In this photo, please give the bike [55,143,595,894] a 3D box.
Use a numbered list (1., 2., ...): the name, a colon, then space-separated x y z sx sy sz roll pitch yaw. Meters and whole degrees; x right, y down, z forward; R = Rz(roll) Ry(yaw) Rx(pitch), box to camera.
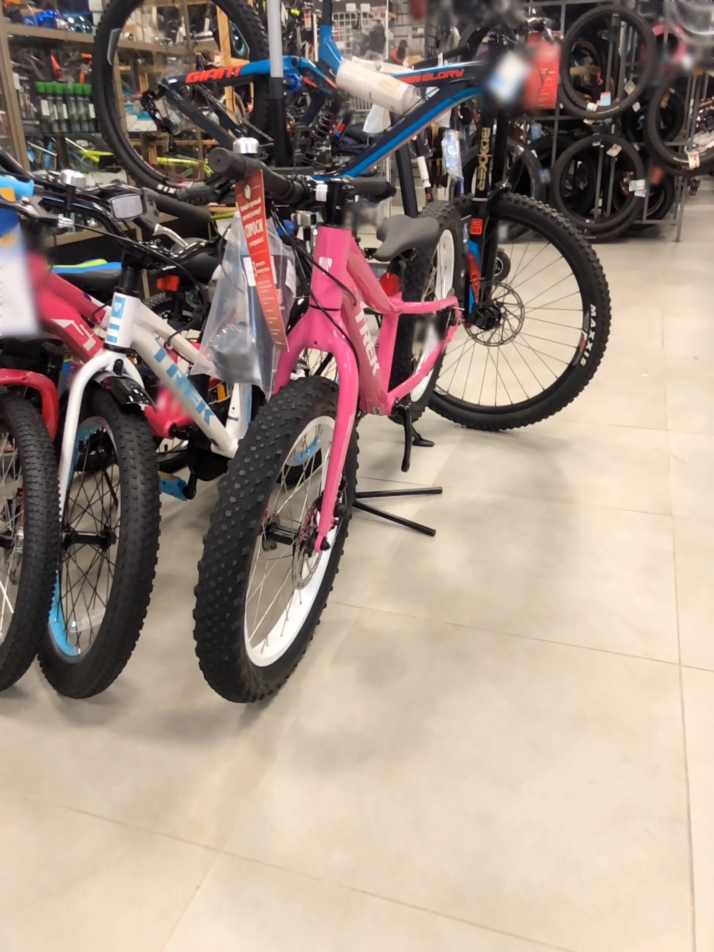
1. bike: 0.096 -0.158 1.530 0.571 0.668 1.342 7 32 18
